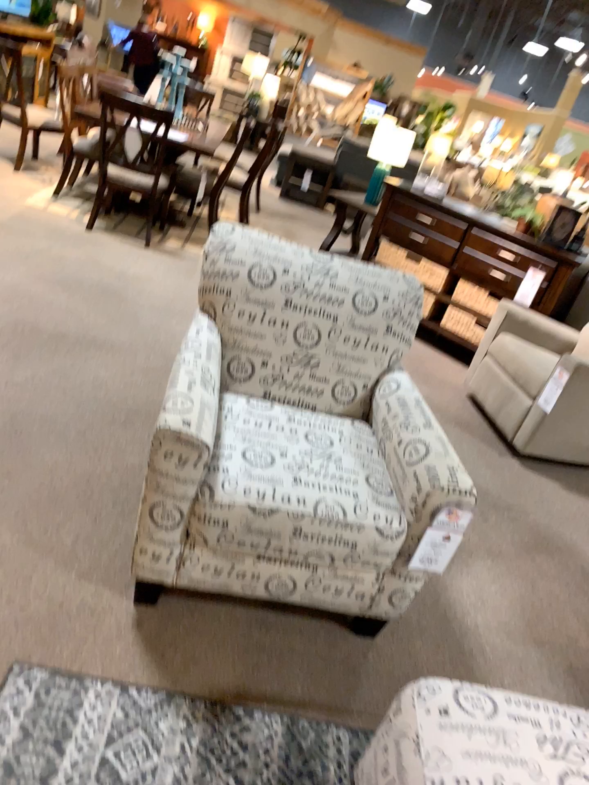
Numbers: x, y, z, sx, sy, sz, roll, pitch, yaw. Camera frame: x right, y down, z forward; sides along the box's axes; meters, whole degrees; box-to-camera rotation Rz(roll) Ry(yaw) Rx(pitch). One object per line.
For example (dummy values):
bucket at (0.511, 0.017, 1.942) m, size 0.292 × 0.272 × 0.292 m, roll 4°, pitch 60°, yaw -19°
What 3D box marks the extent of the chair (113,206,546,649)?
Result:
chair at (0.009, 0.067, 1.864) m, size 0.834 × 0.870 × 0.920 m, roll 13°, pitch 28°, yaw -12°
